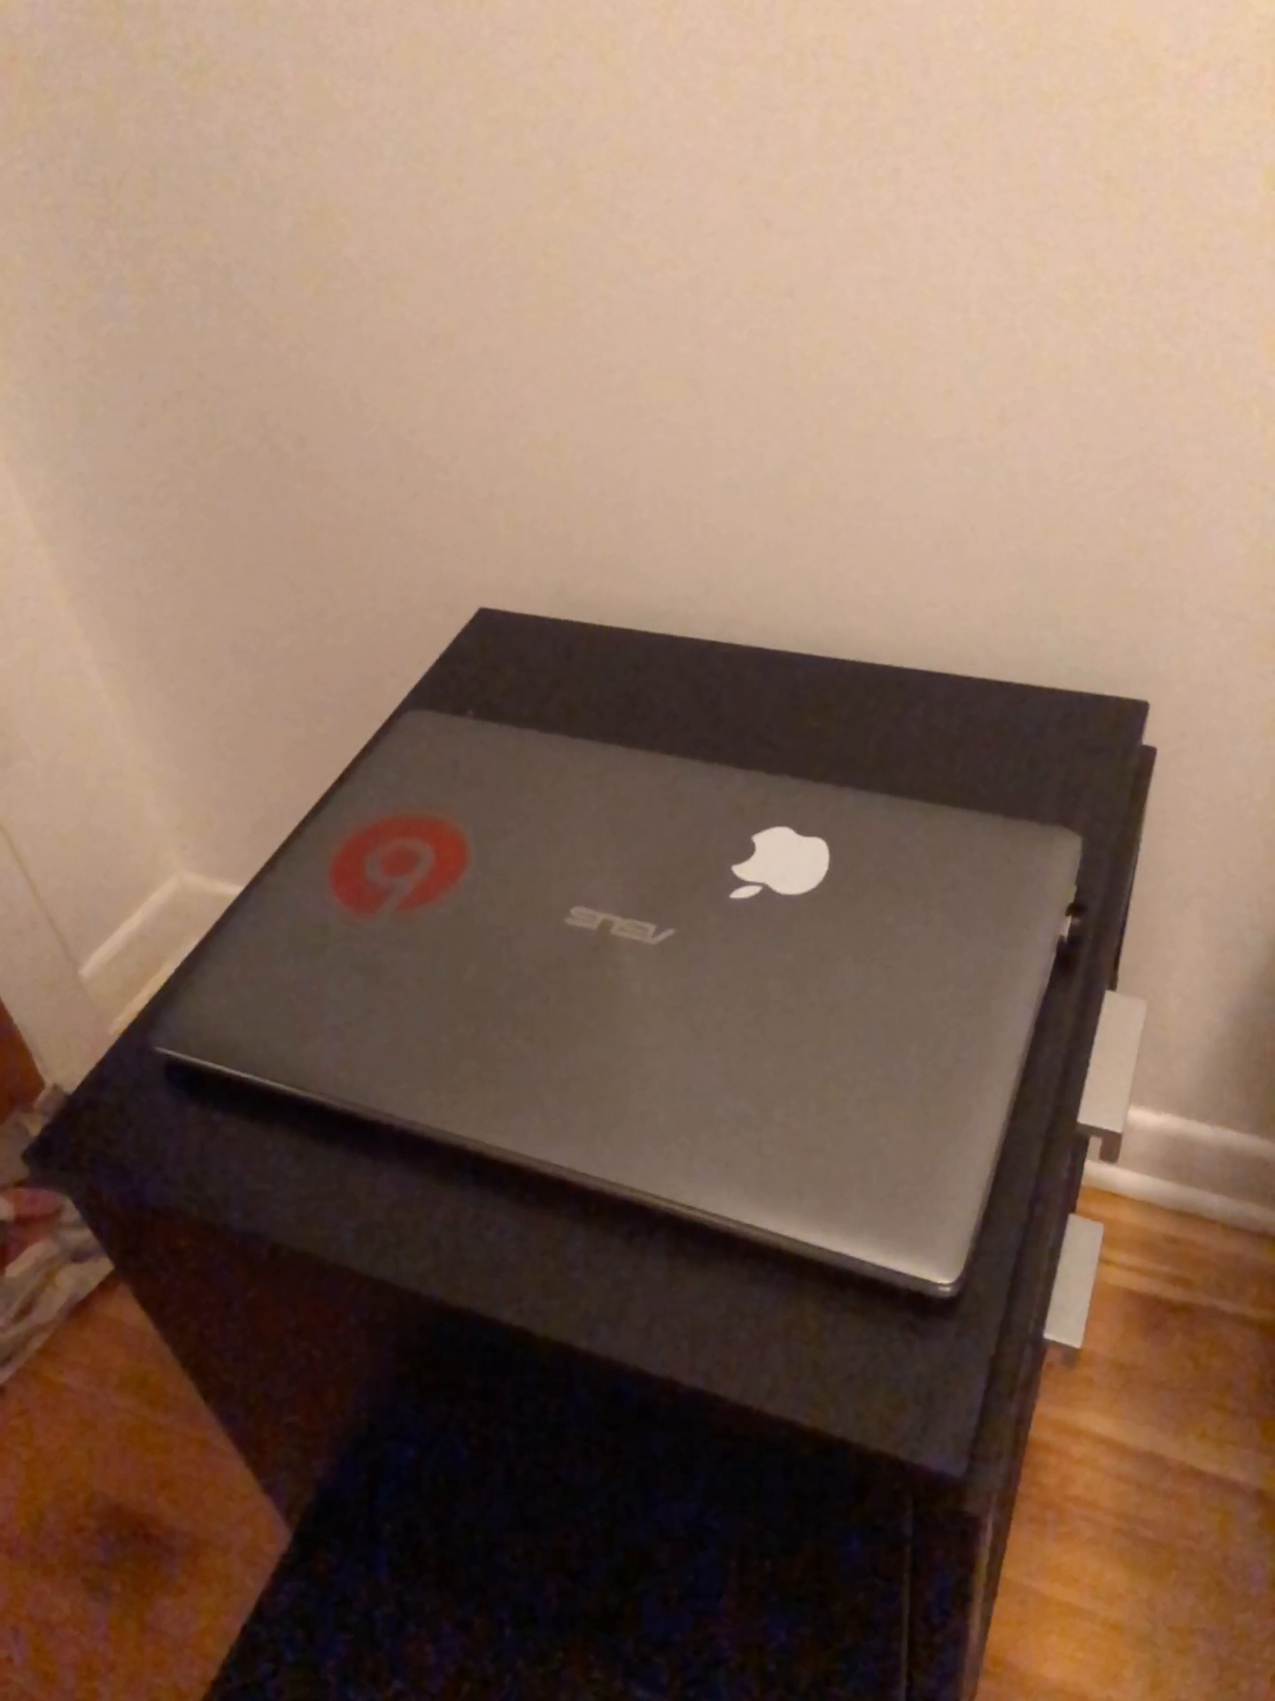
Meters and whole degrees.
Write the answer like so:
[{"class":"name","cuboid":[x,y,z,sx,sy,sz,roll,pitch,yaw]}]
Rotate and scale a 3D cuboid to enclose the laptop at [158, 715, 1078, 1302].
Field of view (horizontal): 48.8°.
[{"class":"laptop","cuboid":[-0.005,0.044,0.666,0.374,0.010,0.250,12,47,22]}]
